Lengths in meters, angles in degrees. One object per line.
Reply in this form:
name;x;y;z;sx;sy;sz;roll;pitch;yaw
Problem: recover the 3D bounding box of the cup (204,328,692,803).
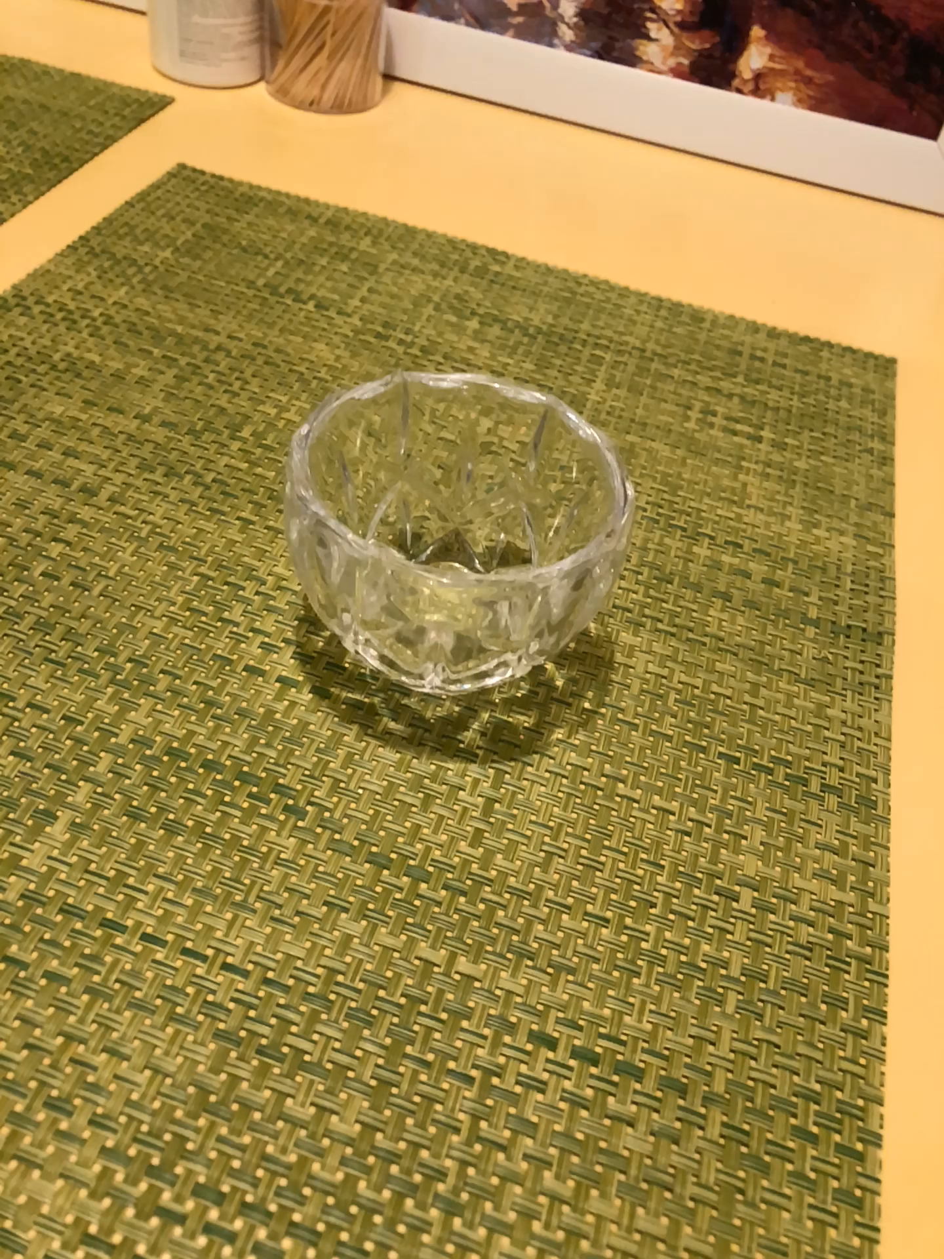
cup;-0.004;-0.019;0.233;0.071;0.045;0.080;27;46;15
